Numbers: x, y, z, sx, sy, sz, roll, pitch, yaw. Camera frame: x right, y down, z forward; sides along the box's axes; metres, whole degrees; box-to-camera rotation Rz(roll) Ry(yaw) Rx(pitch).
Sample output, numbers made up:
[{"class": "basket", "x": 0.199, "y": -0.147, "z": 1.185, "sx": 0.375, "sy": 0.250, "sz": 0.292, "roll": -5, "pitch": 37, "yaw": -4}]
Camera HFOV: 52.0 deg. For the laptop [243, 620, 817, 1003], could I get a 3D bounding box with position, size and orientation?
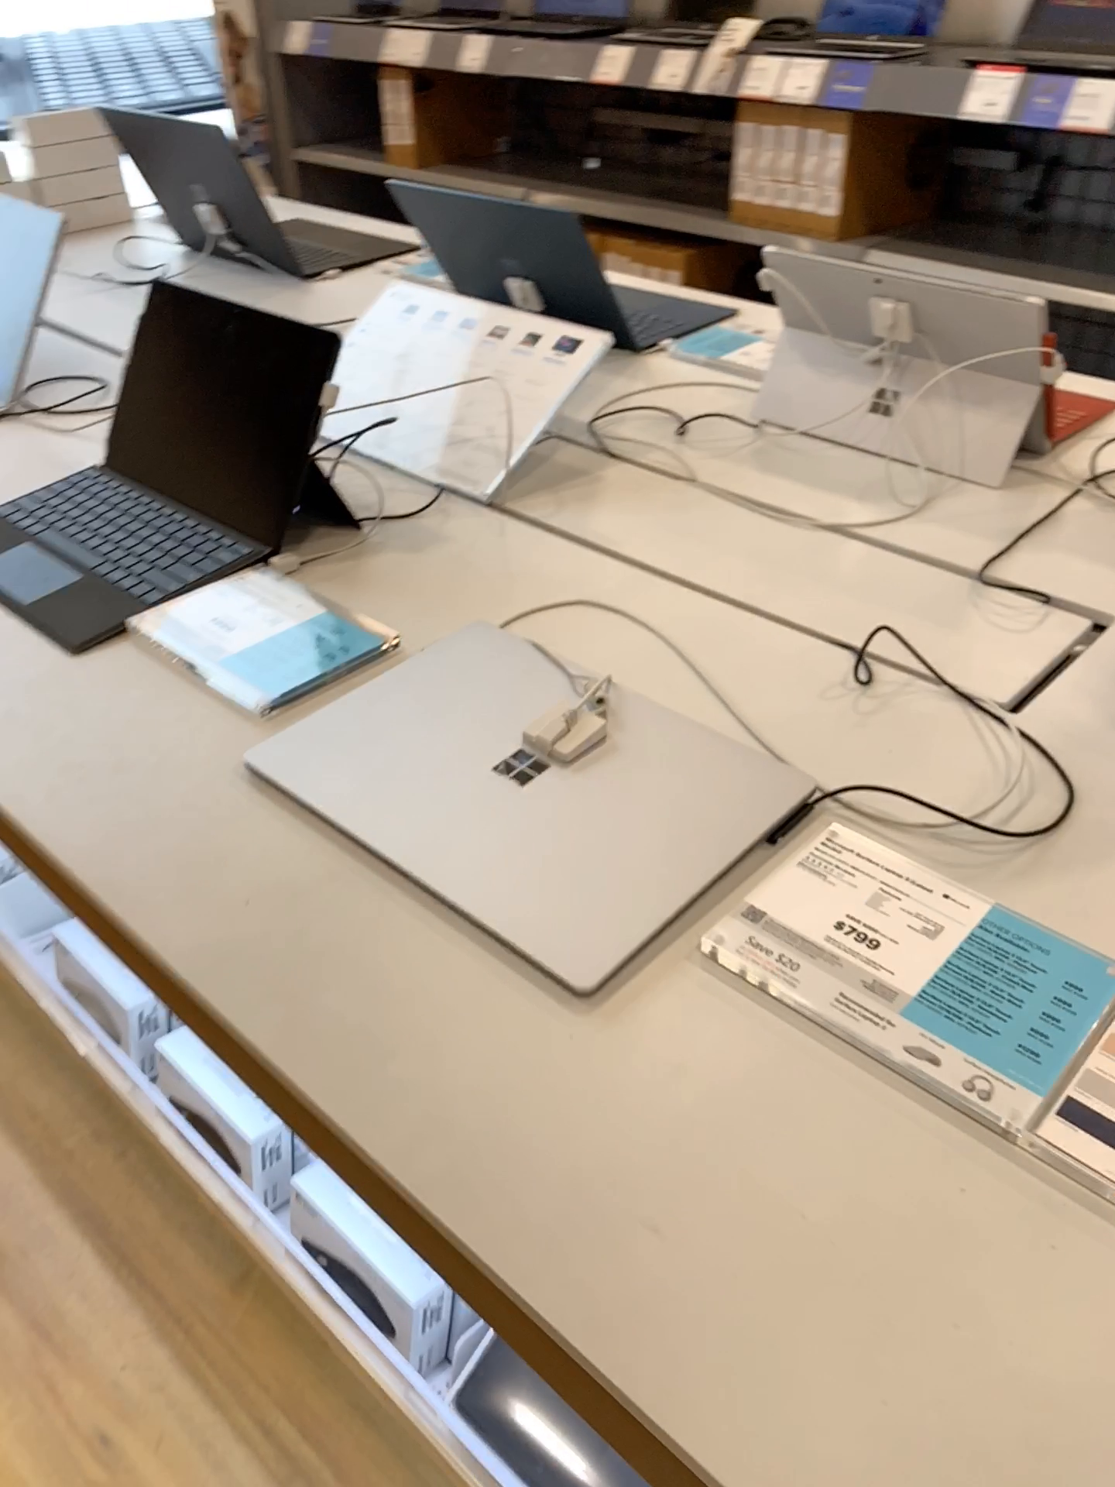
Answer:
[{"class": "laptop", "x": -0.022, "y": 0.020, "z": 0.734, "sx": 0.298, "sy": 0.008, "sz": 0.221, "roll": 28, "pitch": 47, "yaw": 33}]
